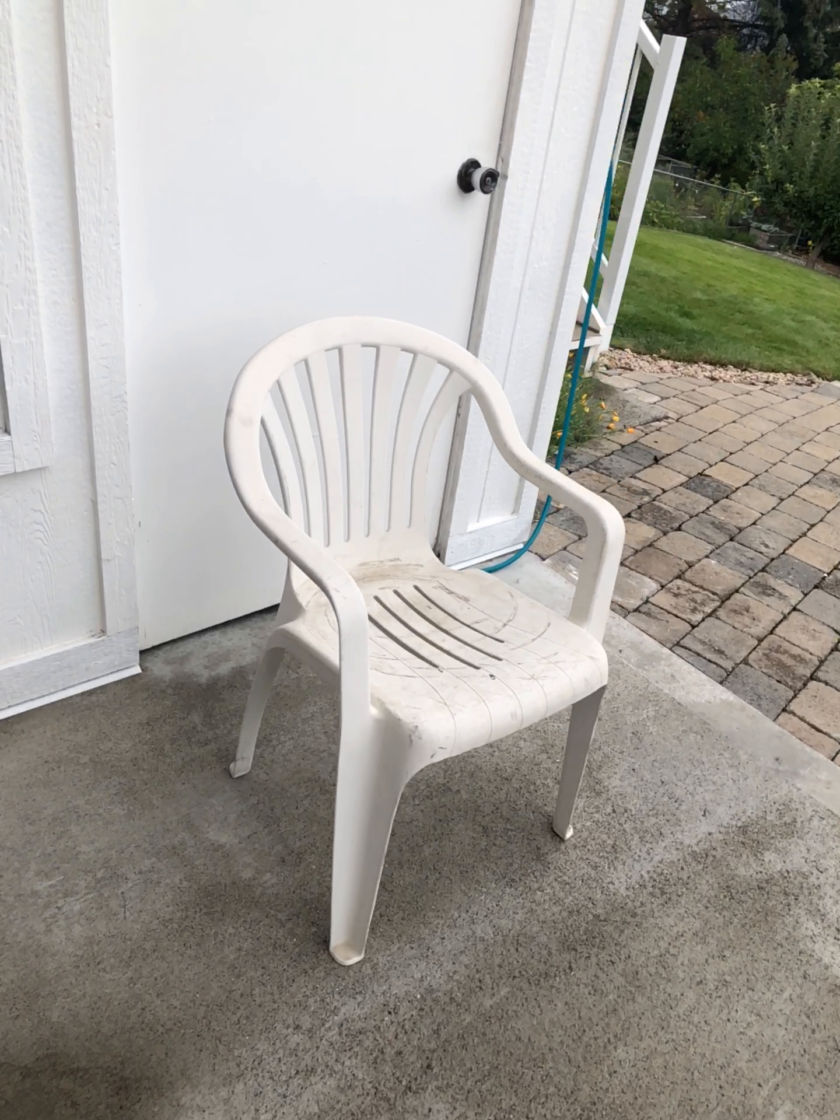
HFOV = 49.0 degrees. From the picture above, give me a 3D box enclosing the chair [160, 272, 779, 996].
[{"bbox_3d":[0.020,0.058,1.364,0.601,0.777,0.511,-18,40,-36],"label":"chair"}]
